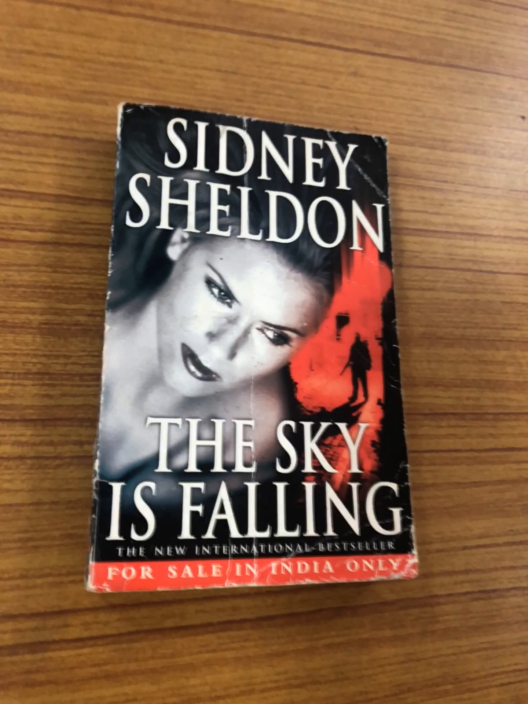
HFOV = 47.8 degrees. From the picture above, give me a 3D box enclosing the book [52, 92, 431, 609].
[{"bbox_3d":[-0.005,-0.002,0.219,0.120,0.030,0.170,4,76,-14],"label":"book"}]
